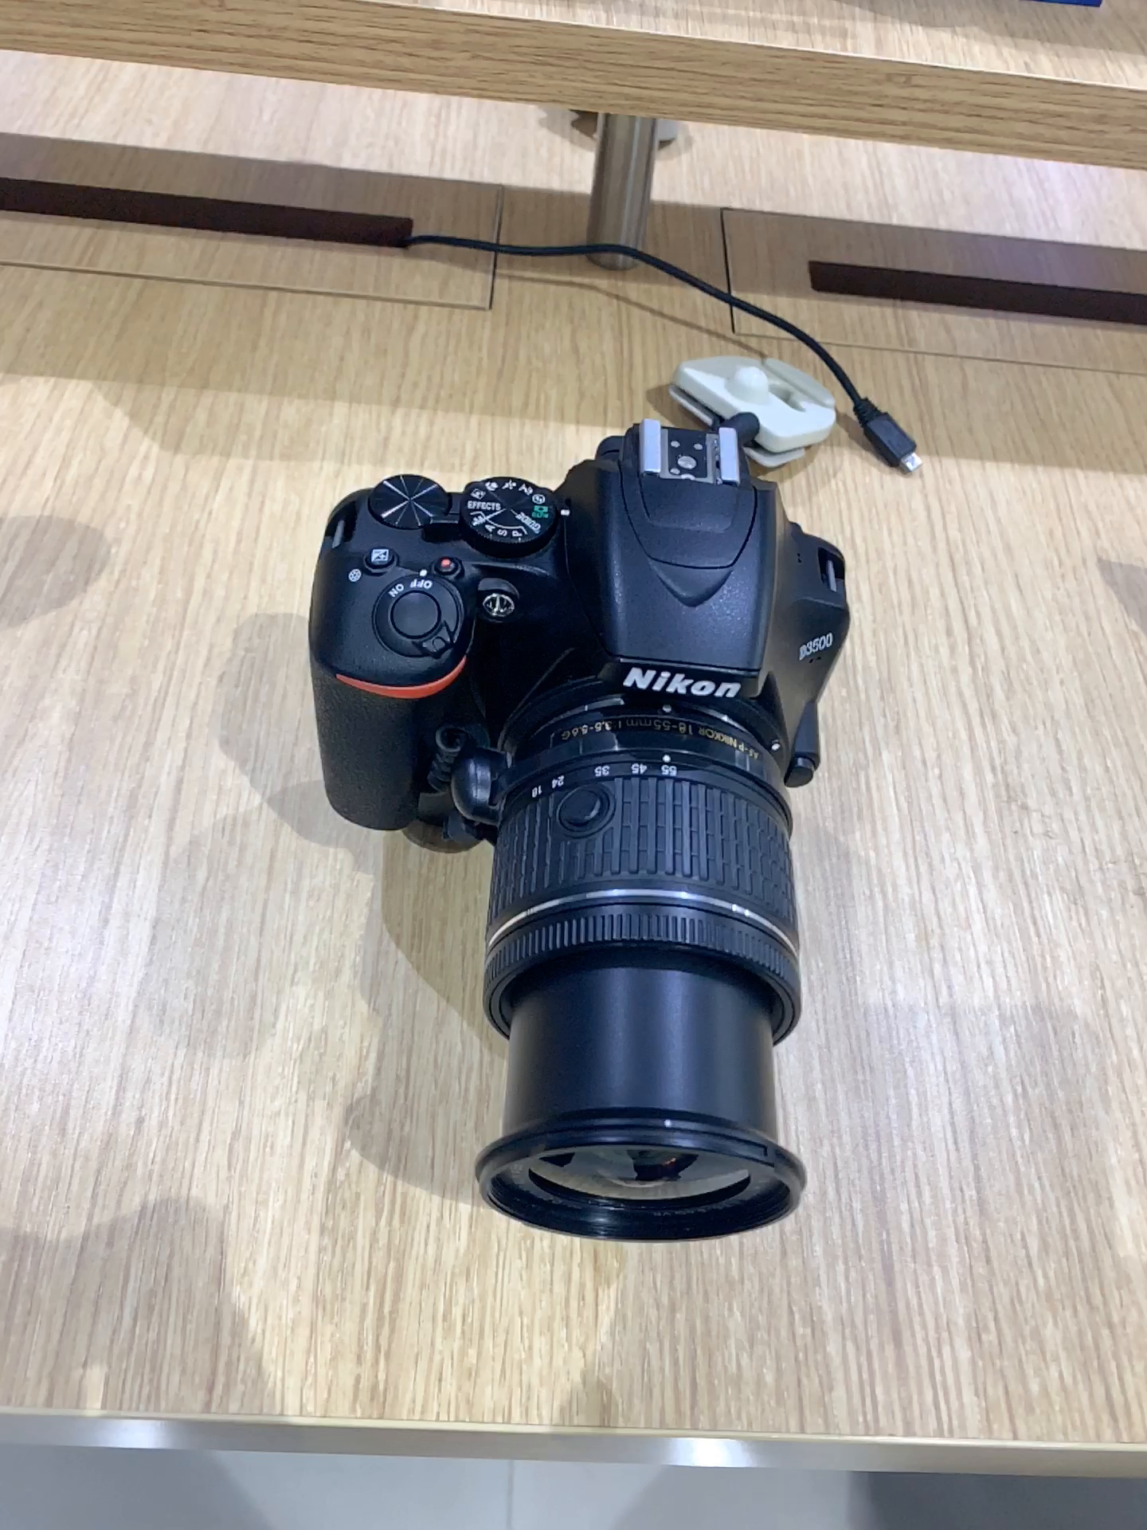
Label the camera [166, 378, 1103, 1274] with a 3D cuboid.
[{"bbox_3d":[0.006,0.013,0.223,0.117,0.095,0.131,4,54,-4],"label":"camera"}]
